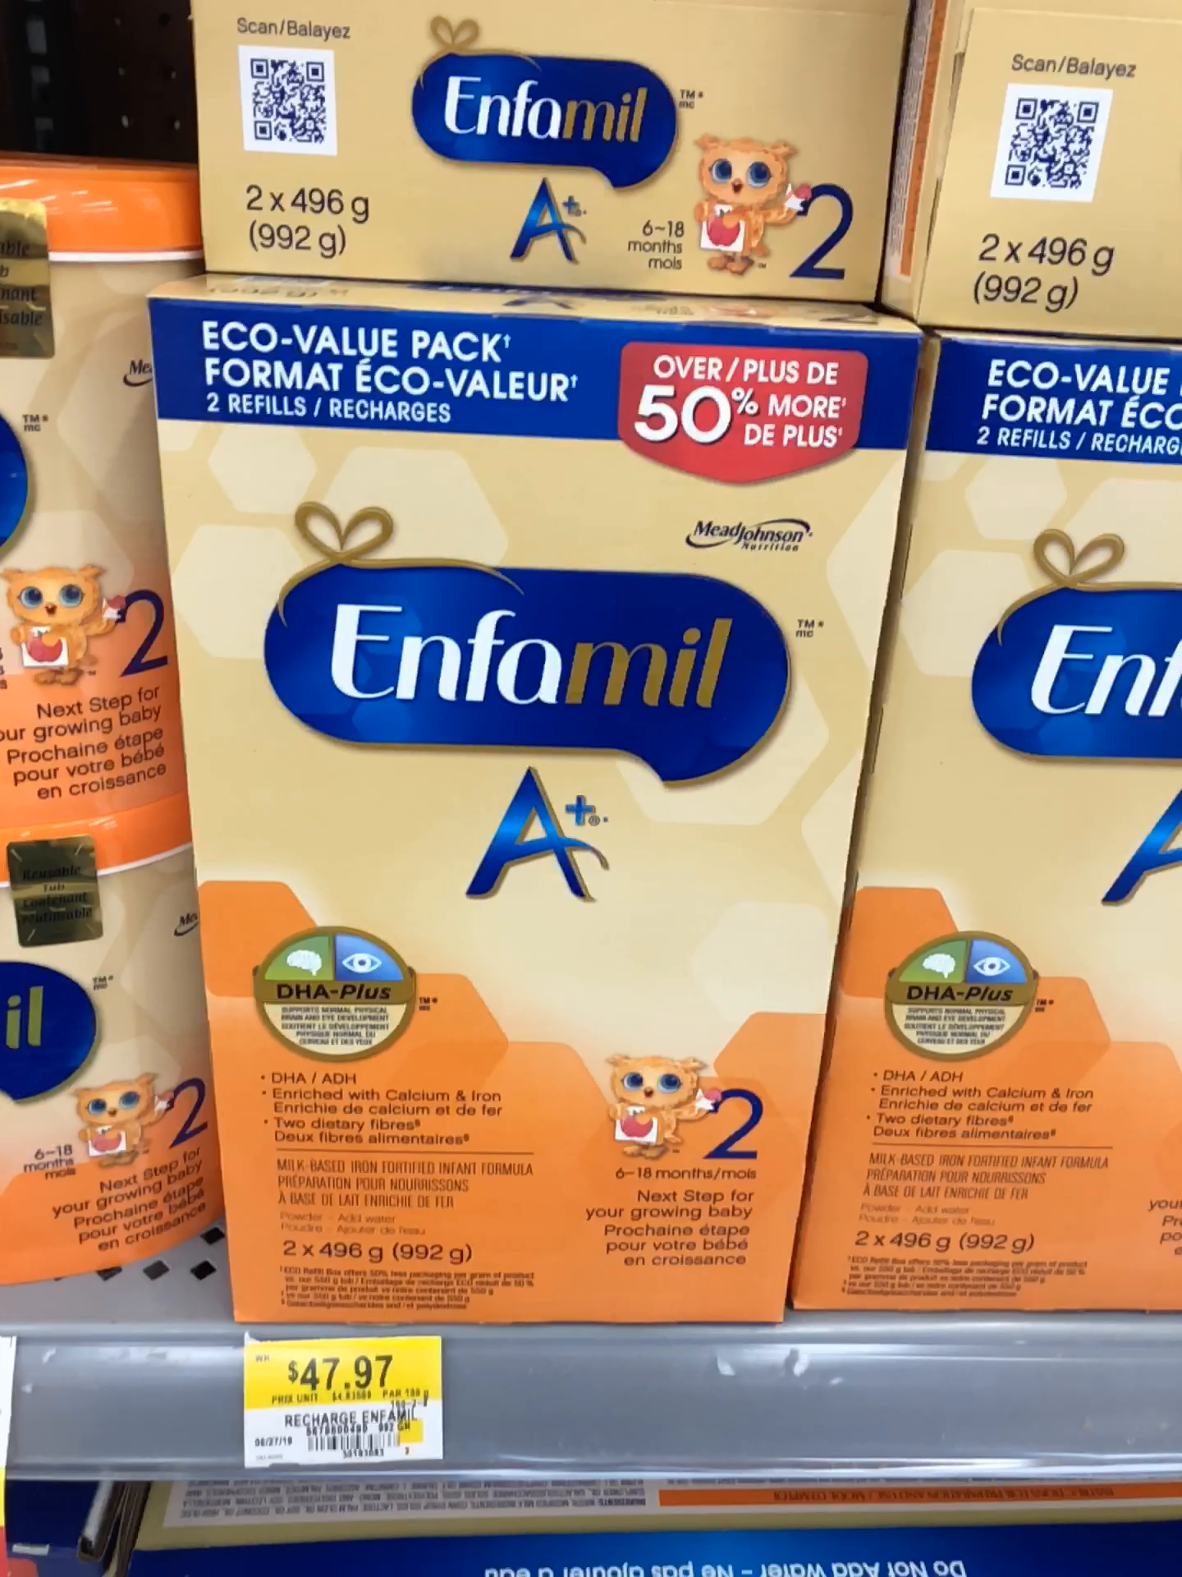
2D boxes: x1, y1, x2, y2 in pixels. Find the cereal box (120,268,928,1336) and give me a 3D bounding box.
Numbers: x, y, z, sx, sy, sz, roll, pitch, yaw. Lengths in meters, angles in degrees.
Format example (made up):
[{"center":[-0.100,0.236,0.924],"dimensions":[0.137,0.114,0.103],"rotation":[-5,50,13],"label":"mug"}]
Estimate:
[{"center":[-0.020,0.011,0.313],"dimensions":[0.140,0.238,0.081],"rotation":[2,25,-5],"label":"cereal box"}]
